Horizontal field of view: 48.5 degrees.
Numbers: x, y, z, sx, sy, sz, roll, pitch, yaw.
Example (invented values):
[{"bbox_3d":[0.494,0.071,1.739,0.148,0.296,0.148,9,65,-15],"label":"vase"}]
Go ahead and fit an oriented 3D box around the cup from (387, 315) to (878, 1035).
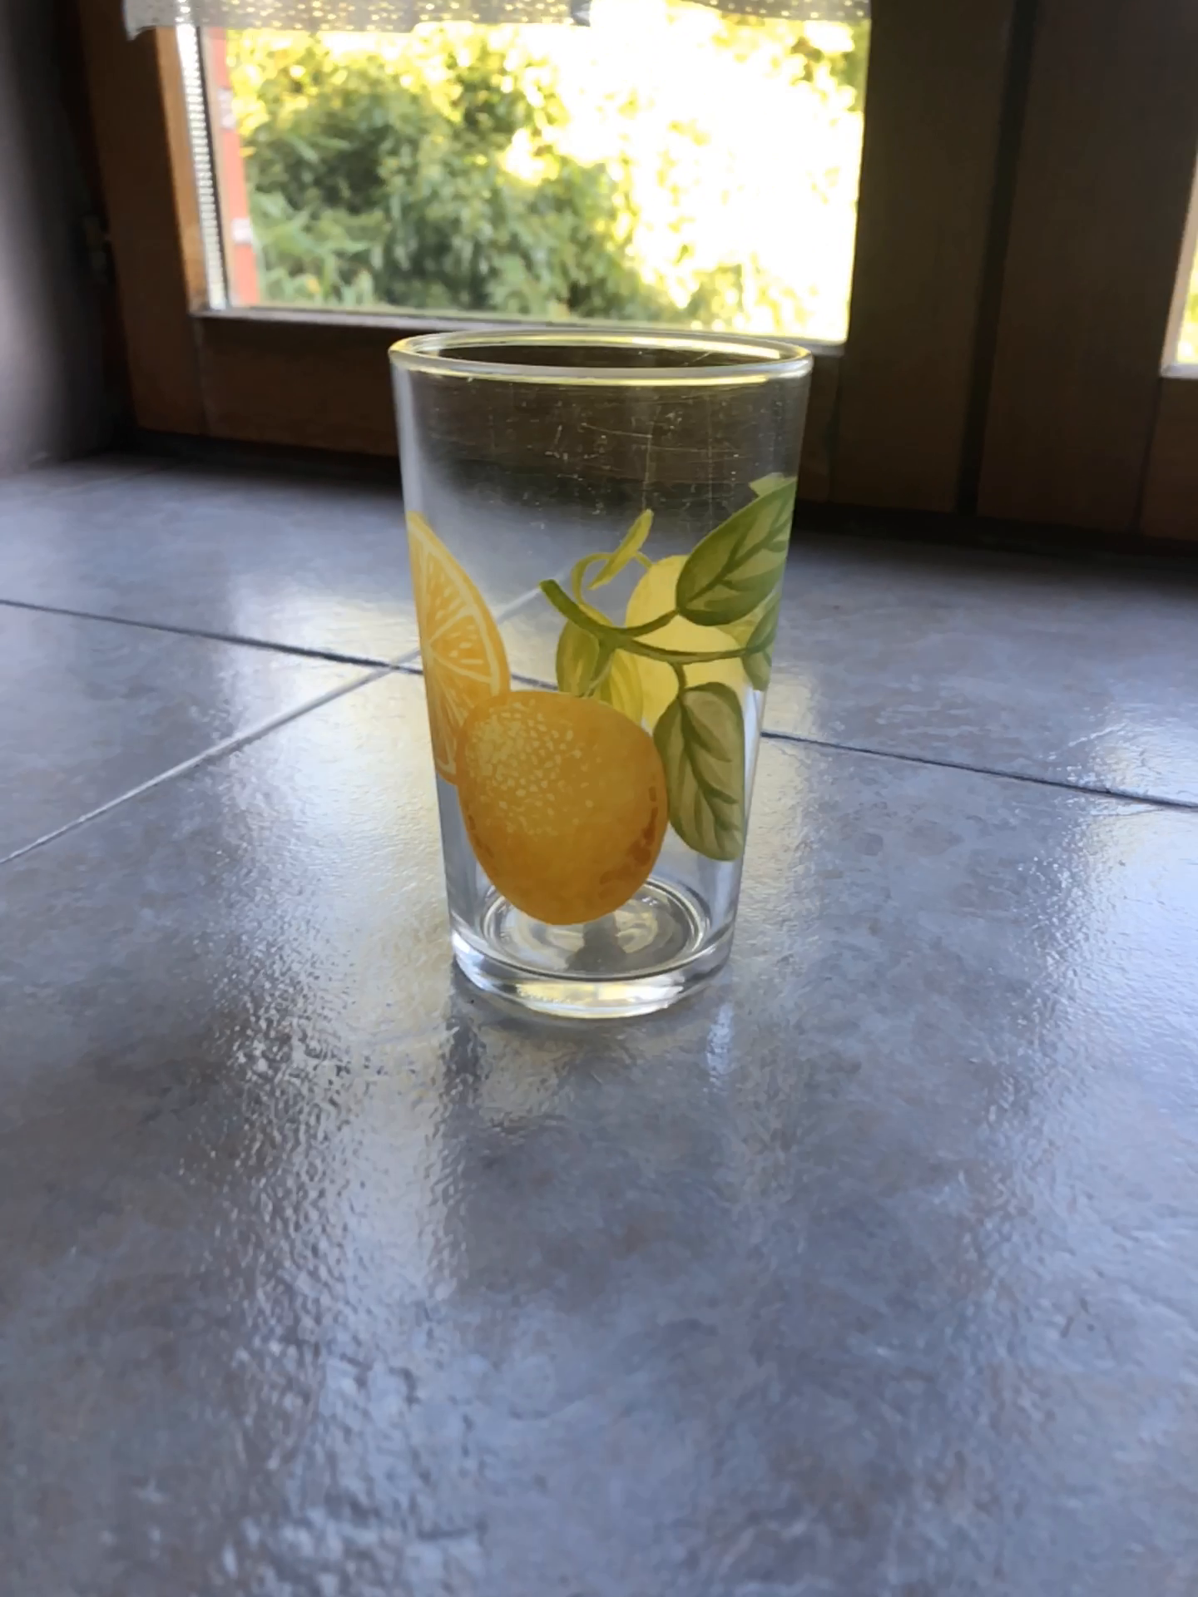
[{"bbox_3d":[0.001,-0.027,0.248,0.070,0.112,0.070,0,25,0],"label":"cup"}]
